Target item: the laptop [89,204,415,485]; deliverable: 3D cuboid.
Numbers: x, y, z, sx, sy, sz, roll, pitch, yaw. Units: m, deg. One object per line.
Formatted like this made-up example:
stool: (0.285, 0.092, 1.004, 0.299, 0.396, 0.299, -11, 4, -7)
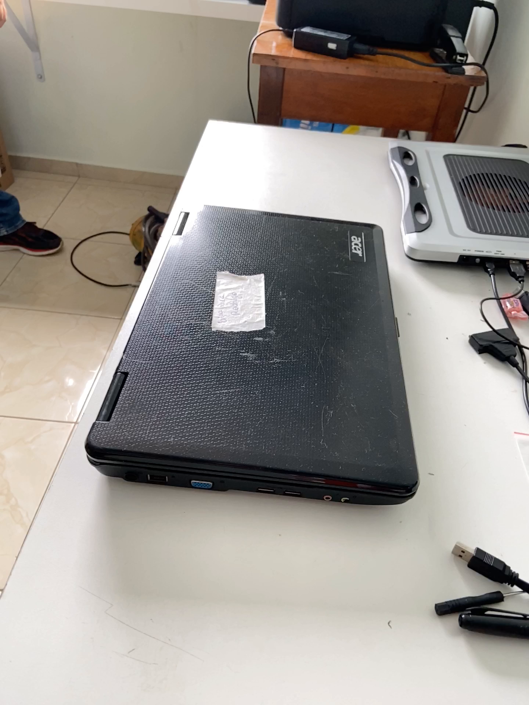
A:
laptop: (0.007, -0.042, 0.526, 0.238, 0.005, 0.359, 7, 43, 1)
